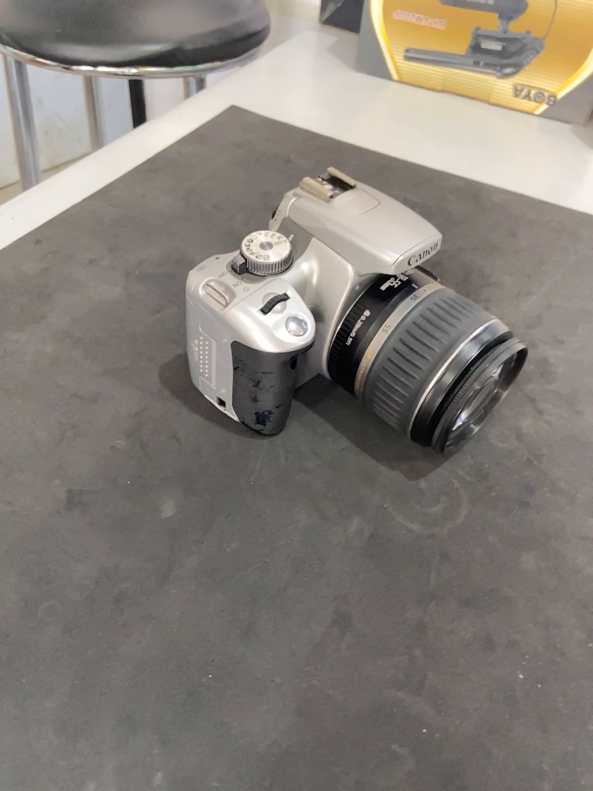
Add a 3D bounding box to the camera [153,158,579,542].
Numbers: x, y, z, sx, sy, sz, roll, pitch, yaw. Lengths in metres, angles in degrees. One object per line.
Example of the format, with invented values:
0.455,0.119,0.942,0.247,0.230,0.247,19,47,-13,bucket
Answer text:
0.028,-0.033,0.292,0.140,0.080,0.121,34,51,25,camera
